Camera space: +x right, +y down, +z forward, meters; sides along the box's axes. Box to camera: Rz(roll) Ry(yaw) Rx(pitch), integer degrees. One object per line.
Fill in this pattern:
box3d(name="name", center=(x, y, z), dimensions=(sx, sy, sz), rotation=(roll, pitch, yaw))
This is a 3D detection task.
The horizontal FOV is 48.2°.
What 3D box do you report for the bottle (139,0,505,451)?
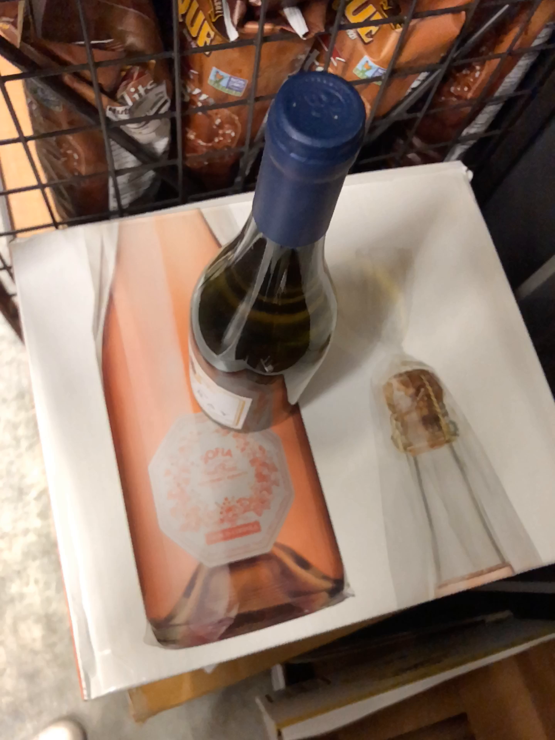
box3d(name="bottle", center=(-0.007, -0.038, 0.304), dimensions=(0.083, 0.282, 0.084), rotation=(2, 71, -7))
